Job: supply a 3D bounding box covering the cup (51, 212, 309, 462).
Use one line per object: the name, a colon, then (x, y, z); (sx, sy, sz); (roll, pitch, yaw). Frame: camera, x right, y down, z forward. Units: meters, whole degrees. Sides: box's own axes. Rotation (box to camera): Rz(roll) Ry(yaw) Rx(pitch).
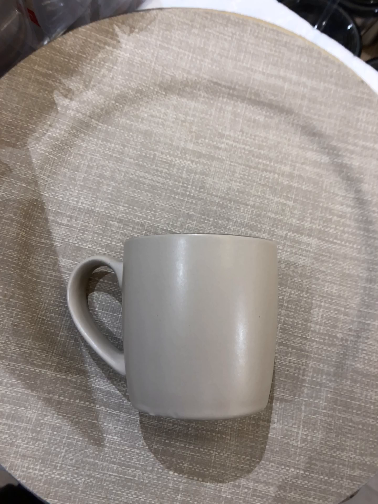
cup: (-0.001, 0.037, 0.213); (0.100, 0.080, 0.090); (-5, 81, 28)
